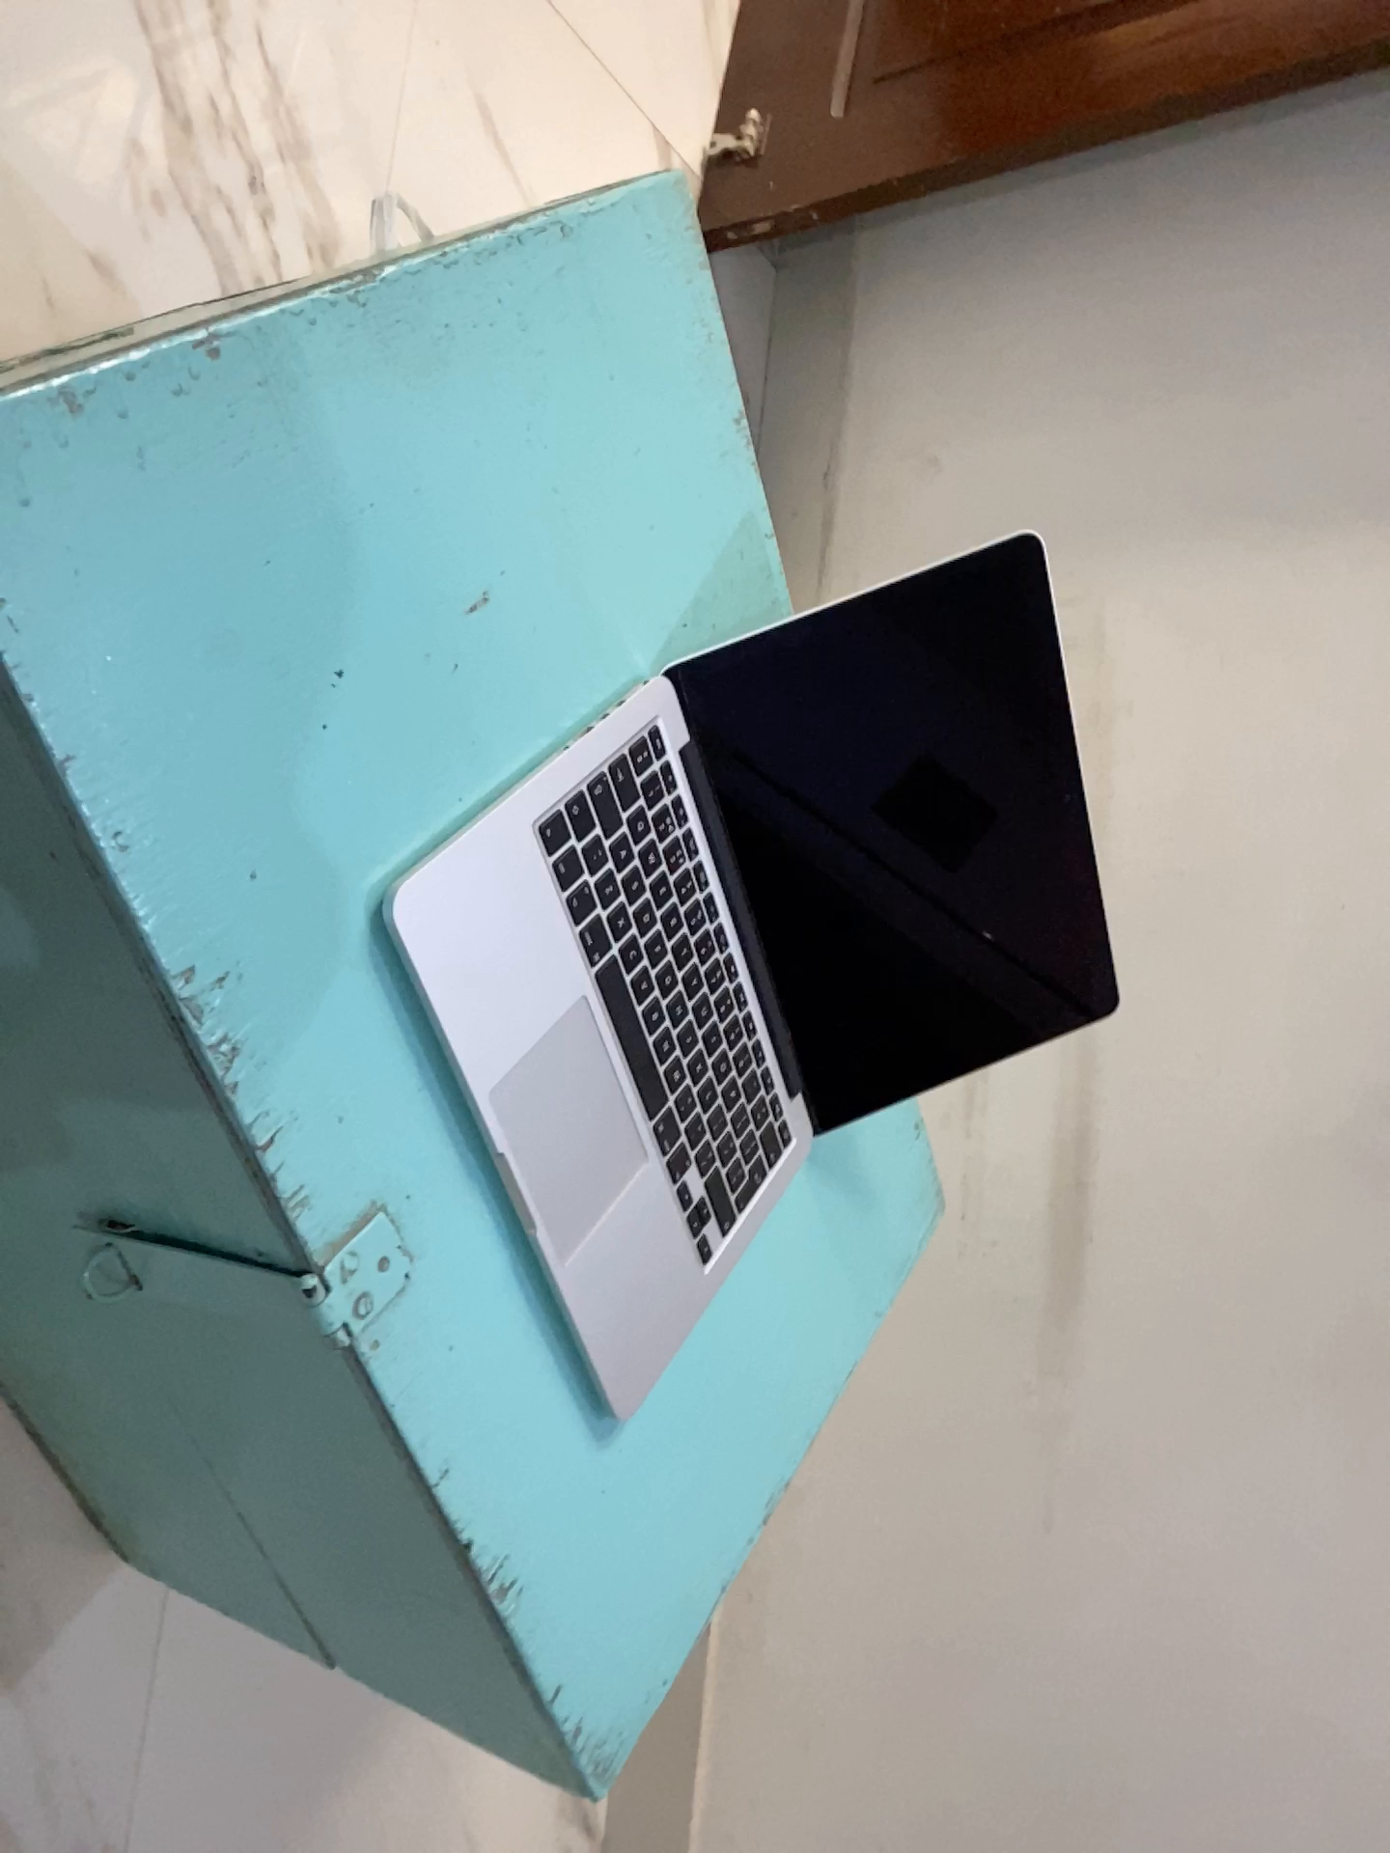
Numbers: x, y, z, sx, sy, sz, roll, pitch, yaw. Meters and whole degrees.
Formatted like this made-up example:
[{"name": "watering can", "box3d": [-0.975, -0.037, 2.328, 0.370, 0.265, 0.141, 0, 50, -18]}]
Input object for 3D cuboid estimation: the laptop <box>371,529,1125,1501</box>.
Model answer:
[{"name": "laptop", "box3d": [0.071, 0.023, 0.730, 0.378, 0.148, 0.313, -49, 130, -43]}]
